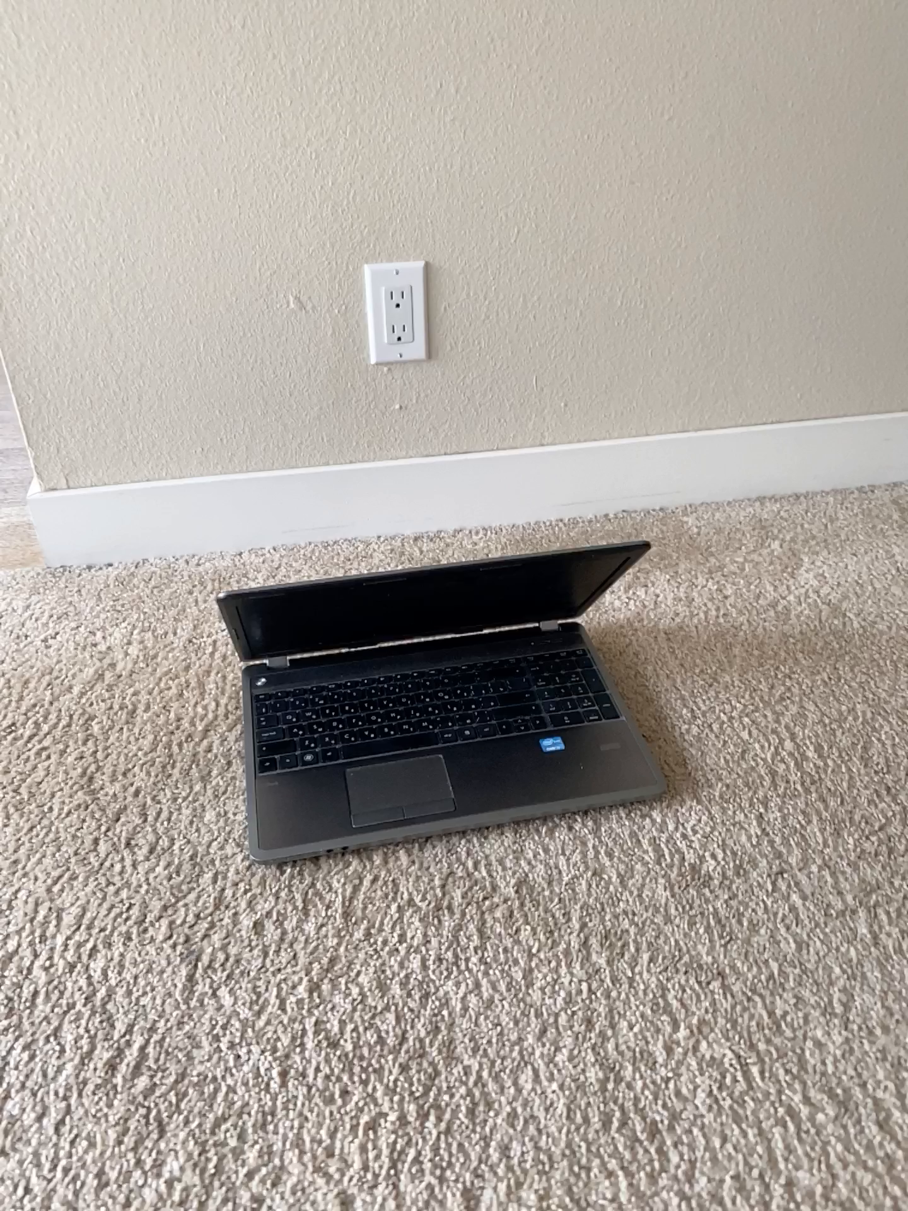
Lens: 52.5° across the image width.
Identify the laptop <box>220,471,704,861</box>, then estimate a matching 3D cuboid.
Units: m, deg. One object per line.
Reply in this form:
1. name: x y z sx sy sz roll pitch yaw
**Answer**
1. laptop: -0.010 0.040 0.849 0.370 0.189 0.250 -7 37 -11
